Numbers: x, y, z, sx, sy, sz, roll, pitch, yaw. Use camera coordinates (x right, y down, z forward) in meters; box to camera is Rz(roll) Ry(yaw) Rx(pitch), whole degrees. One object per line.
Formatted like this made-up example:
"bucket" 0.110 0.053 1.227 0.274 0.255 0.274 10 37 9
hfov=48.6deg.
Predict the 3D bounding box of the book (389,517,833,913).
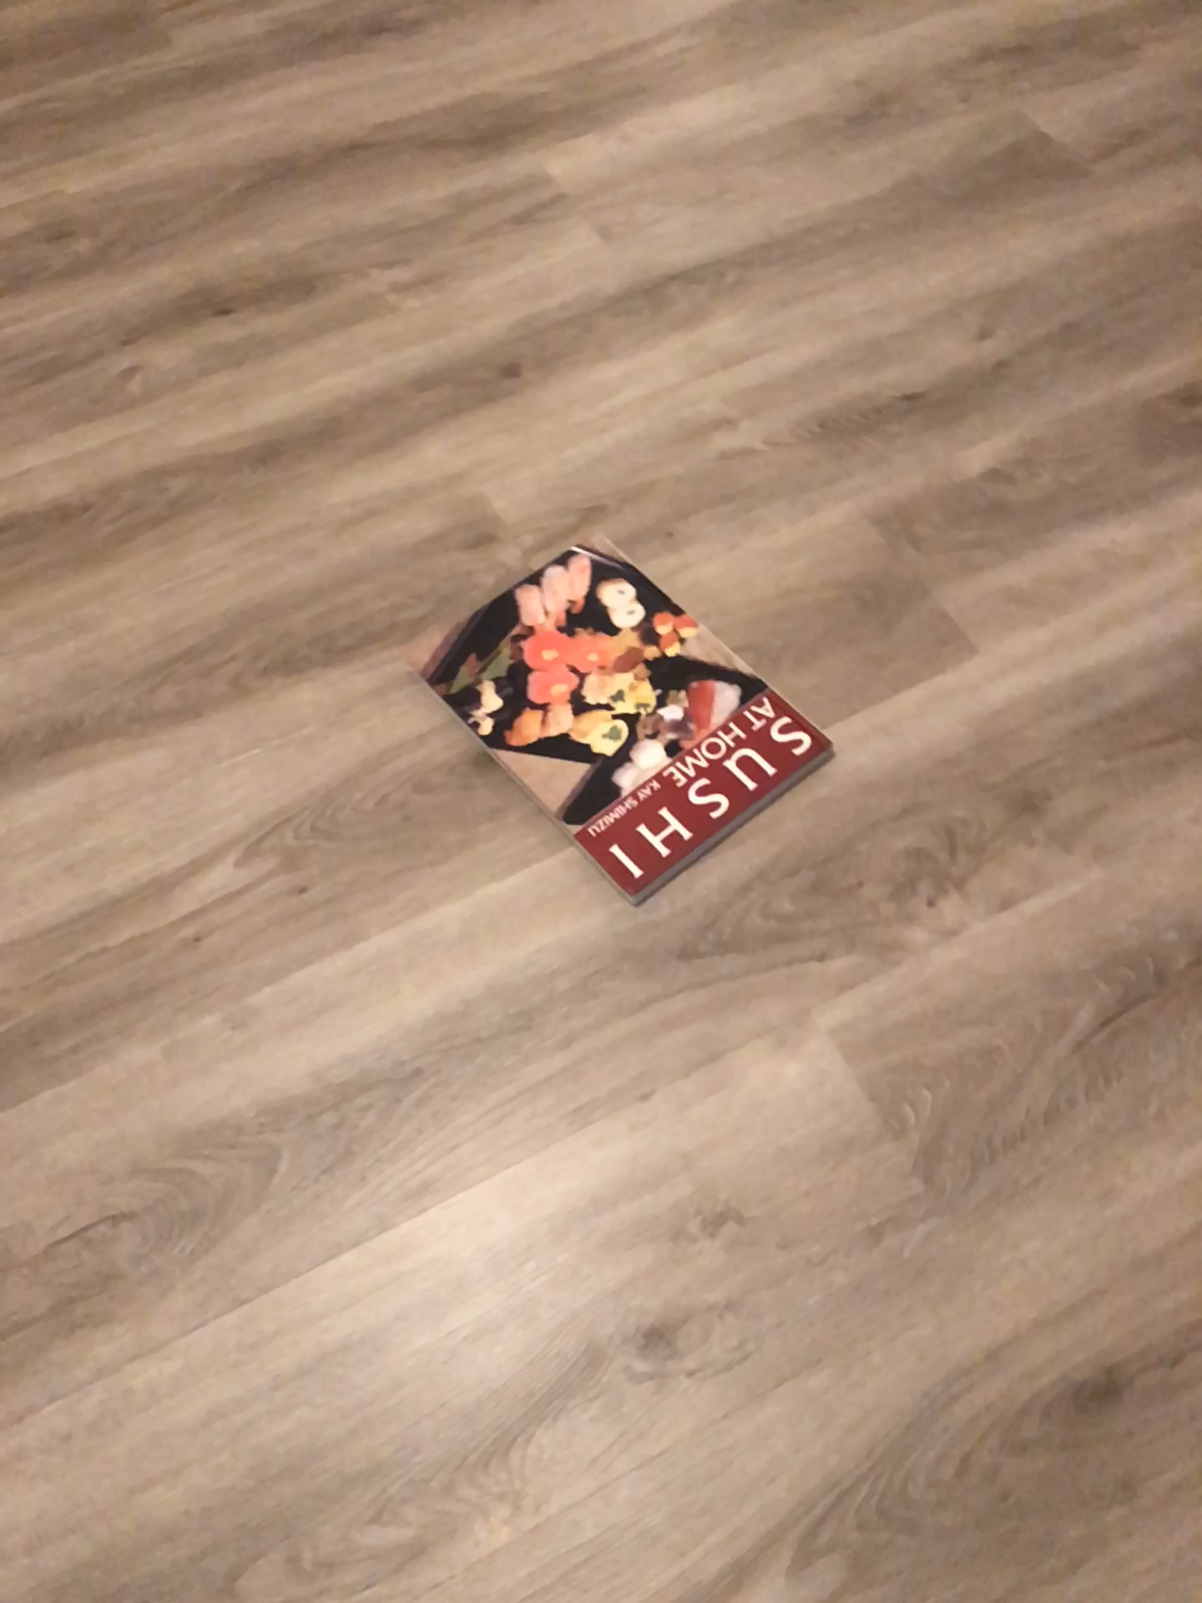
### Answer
"book" 0.003 -0.072 0.943 0.190 0.030 0.258 -35 64 -18
